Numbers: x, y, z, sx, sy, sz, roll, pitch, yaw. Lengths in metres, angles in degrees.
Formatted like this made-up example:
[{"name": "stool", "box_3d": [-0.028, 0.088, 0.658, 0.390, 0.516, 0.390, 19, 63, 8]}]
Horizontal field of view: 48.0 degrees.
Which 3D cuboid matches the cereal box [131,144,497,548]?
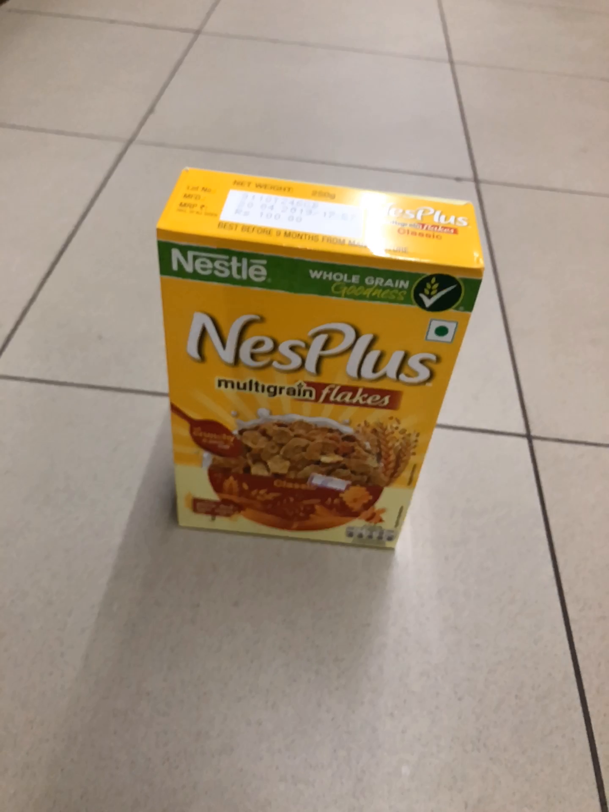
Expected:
[{"name": "cereal box", "box_3d": [-0.003, -0.016, 0.351, 0.140, 0.199, 0.060, 7, 45, -1]}]
